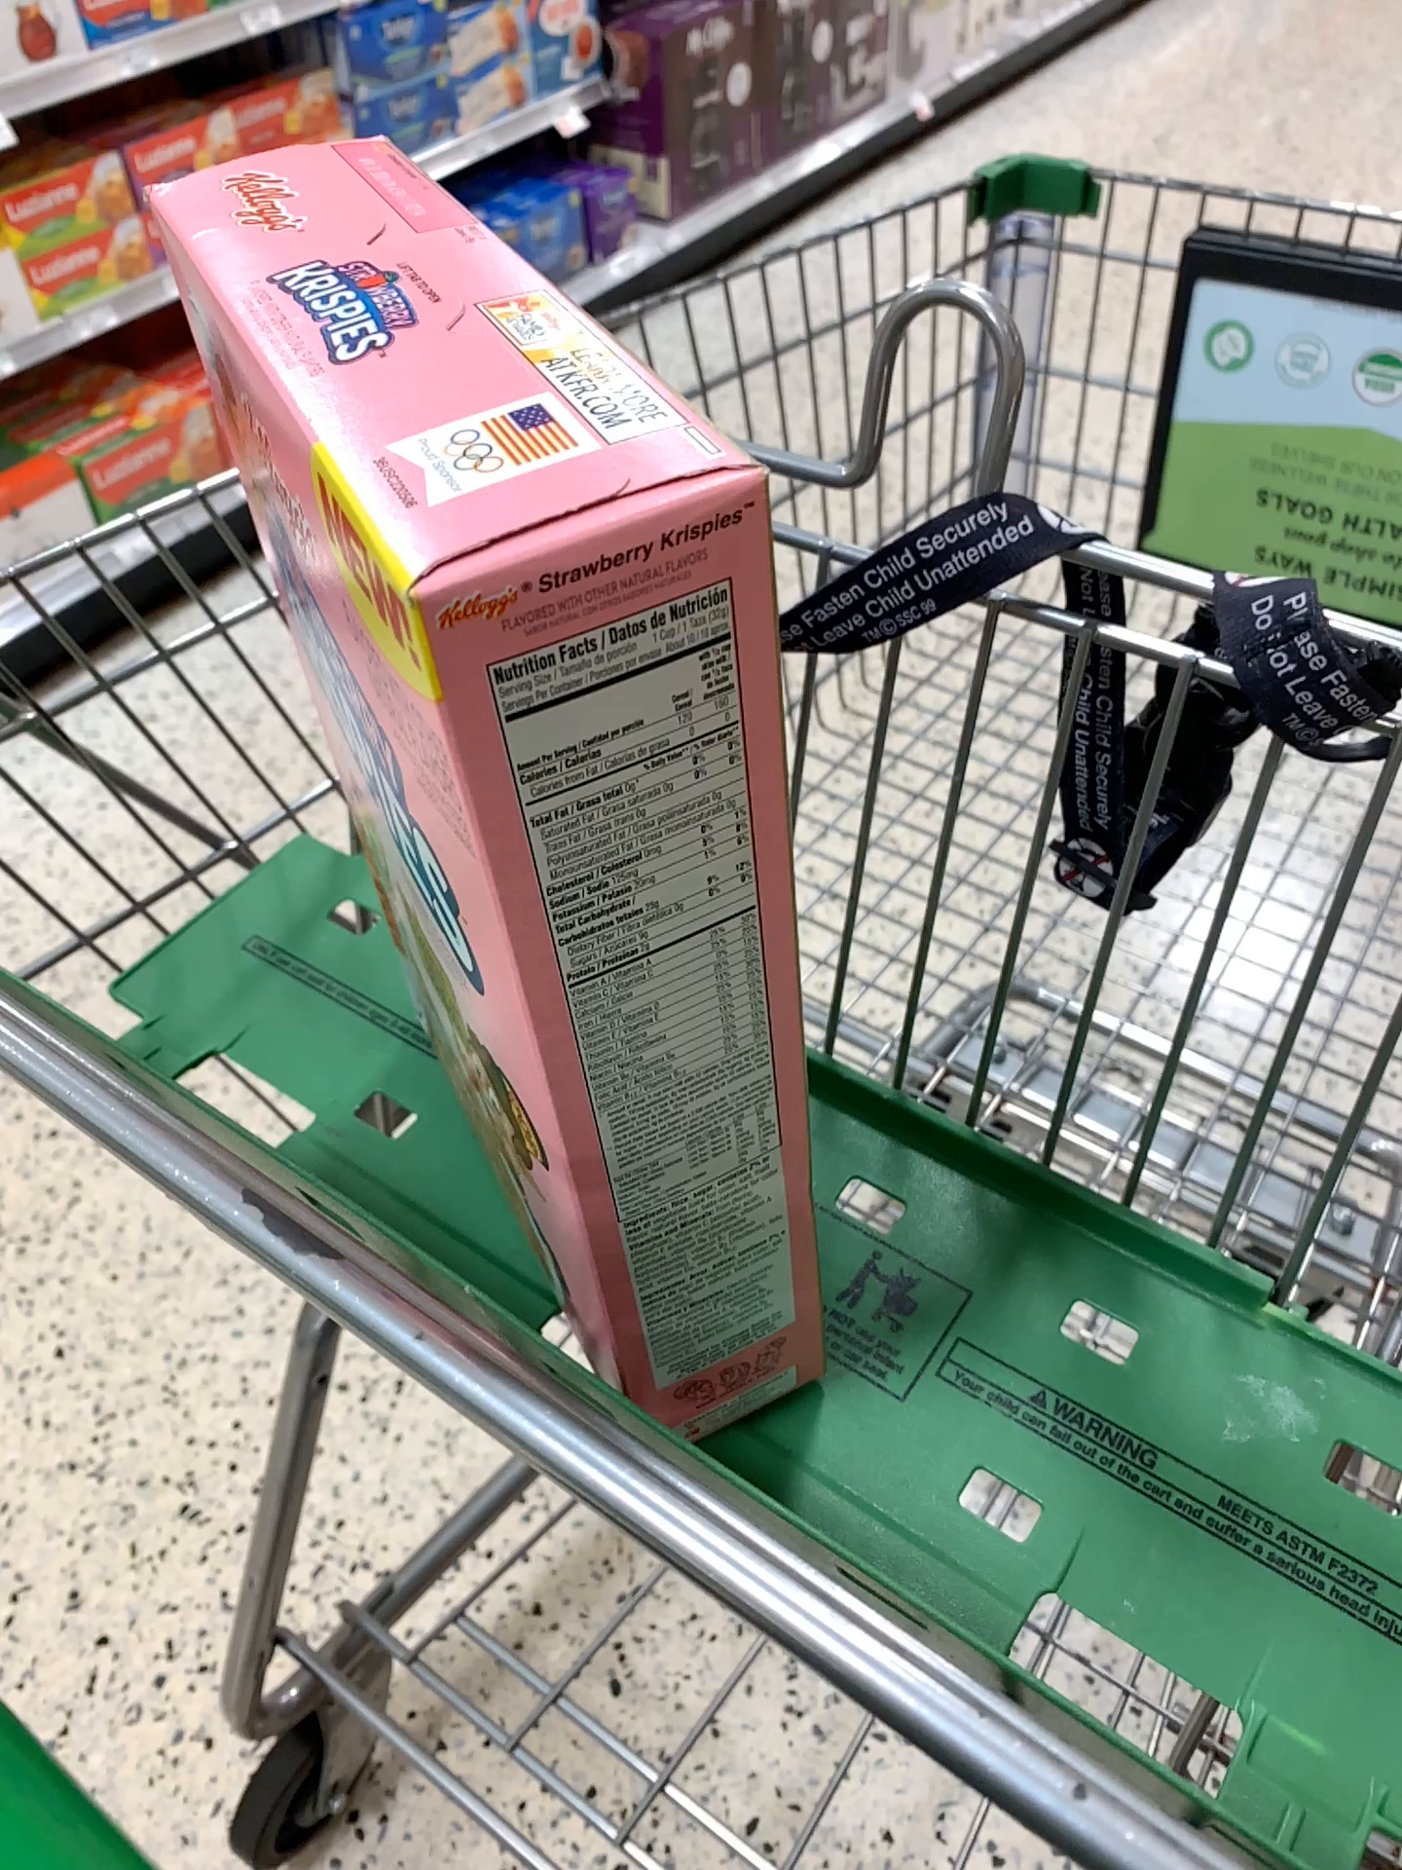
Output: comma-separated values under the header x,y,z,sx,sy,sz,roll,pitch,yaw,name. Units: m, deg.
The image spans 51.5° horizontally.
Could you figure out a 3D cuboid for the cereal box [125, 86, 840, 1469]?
x,y,z,sx,sy,sz,roll,pitch,yaw,name
-0.046,-0.026,0.383,0.060,0.297,0.212,-23,49,-14,cereal box
